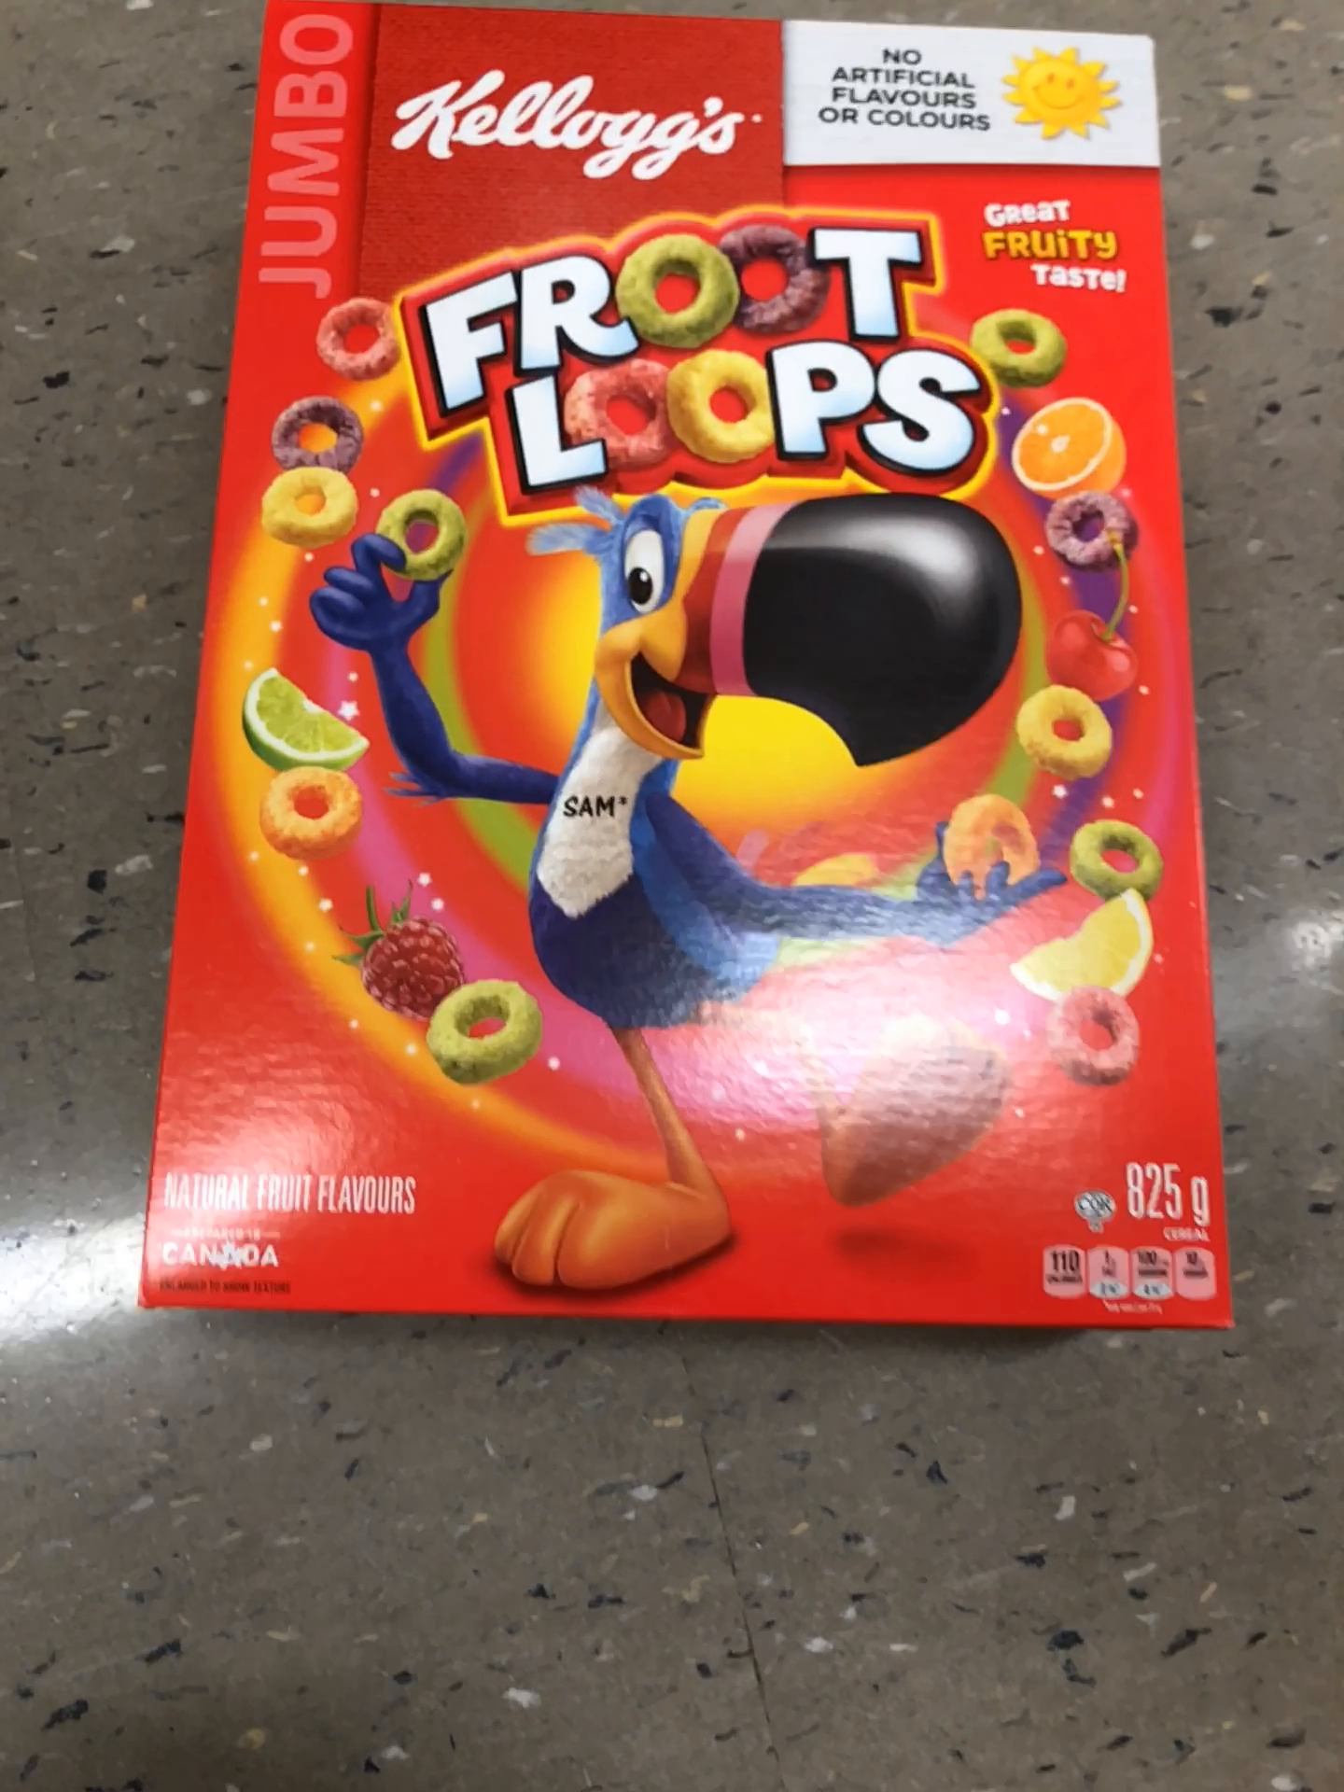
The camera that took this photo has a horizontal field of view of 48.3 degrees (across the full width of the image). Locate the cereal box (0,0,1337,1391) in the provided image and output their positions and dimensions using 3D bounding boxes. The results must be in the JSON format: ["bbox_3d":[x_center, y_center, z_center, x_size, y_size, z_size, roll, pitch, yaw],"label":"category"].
[{"bbox_3d":[0.000,-0.071,0.378,0.270,0.080,0.360,2,75,-1],"label":"cereal box"}]
